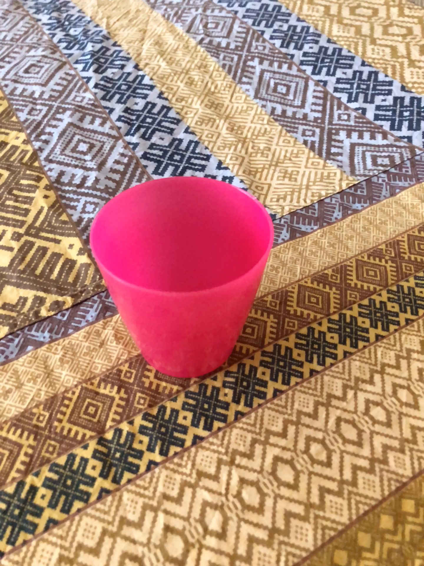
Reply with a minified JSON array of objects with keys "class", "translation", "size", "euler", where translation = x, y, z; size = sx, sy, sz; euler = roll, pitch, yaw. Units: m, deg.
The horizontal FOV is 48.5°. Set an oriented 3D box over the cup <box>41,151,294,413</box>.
[{"class":"cup","translation":[-0.017,-0.003,0.223],"size":[0.077,0.067,0.079],"euler":[2,49,-2]}]
